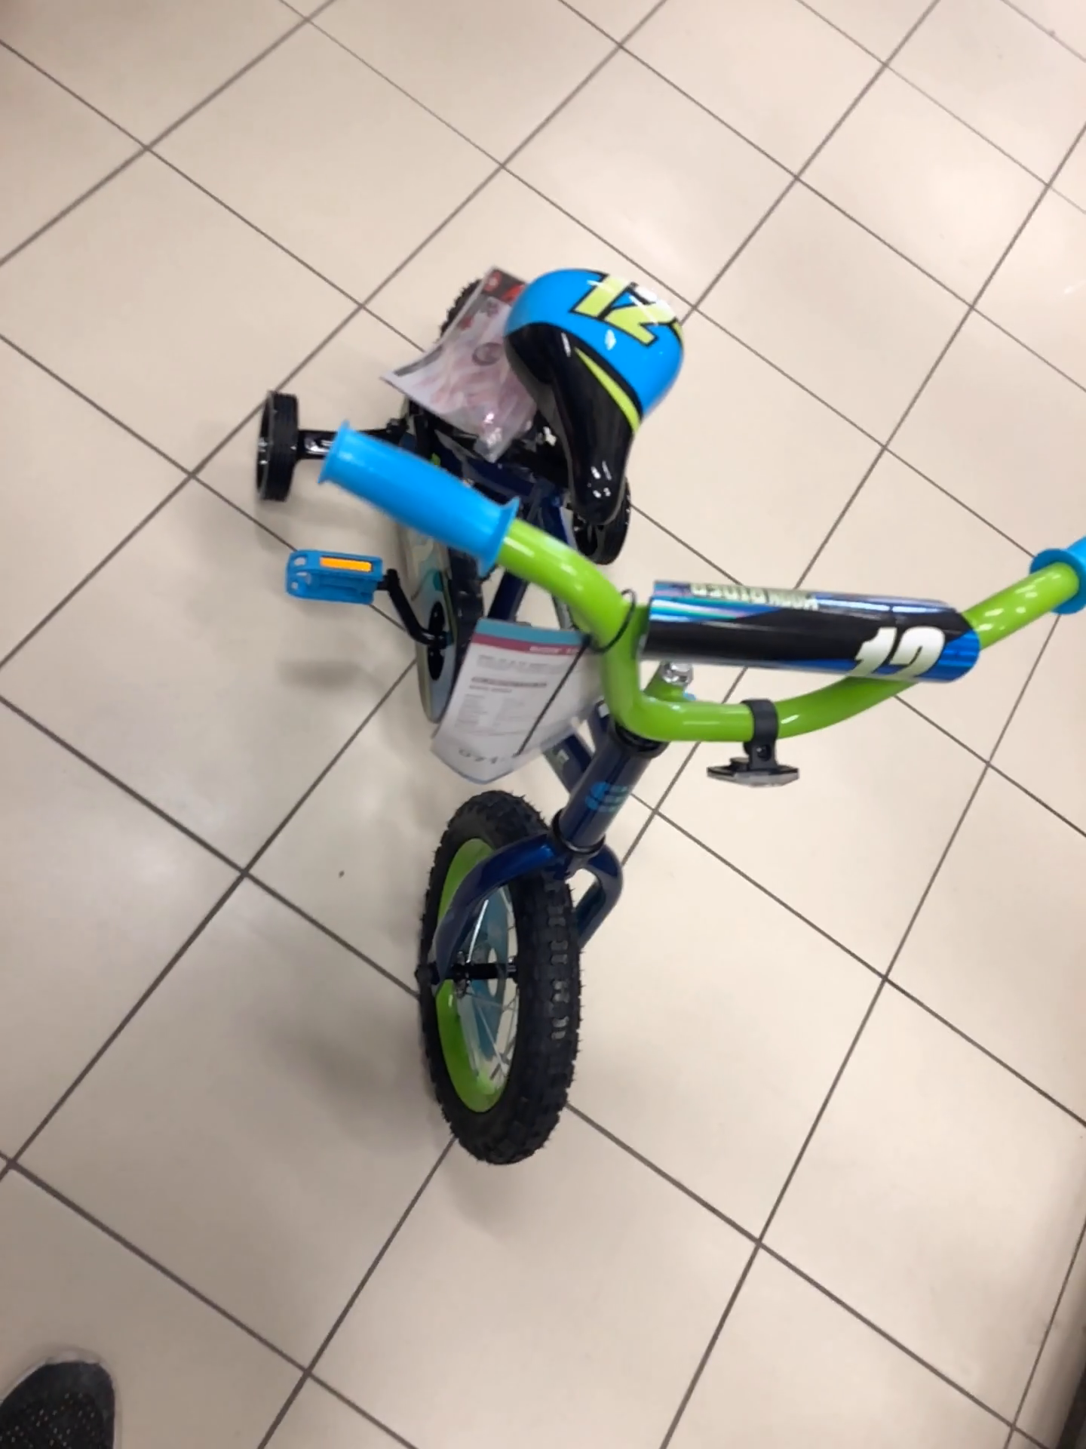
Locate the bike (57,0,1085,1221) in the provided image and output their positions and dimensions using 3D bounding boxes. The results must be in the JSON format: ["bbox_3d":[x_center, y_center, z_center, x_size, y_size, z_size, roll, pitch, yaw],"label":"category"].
[{"bbox_3d":[0.006,-0.107,0.882,0.548,0.677,0.795,2,70,-16],"label":"bike"}]
